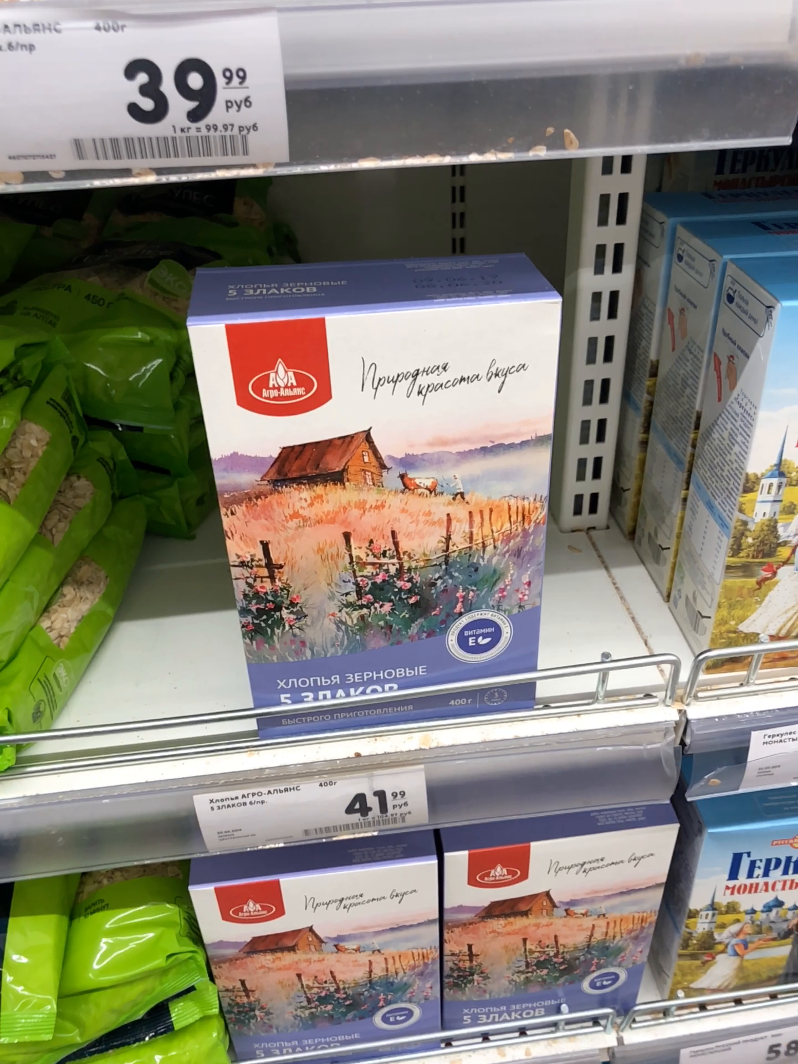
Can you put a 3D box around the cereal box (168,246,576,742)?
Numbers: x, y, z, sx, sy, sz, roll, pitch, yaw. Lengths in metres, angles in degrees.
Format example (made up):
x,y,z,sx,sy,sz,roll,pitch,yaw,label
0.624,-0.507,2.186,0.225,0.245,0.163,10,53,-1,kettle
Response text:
x,y,z,sx,sy,sz,roll,pitch,yaw,label
-0.007,-0.009,0.382,0.140,0.199,0.060,-5,34,-4,cereal box
